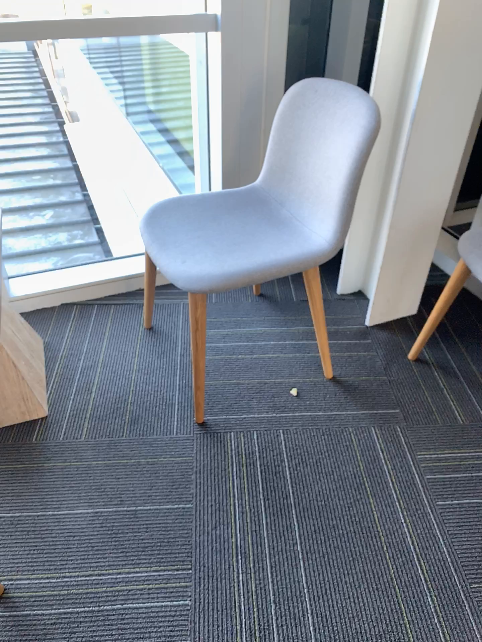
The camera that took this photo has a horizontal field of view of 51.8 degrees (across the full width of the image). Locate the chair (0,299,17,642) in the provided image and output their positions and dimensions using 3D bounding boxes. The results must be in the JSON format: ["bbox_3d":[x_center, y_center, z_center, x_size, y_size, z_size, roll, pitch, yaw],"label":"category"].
[{"bbox_3d":[-0.620,0.435,0.529,0.540,0.676,0.473,-12,40,-17],"label":"chair"}]

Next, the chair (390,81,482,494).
[{"bbox_3d":[0.858,-0.113,1.231,0.590,0.726,0.563,-15,41,-19],"label":"chair"}]

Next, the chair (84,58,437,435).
[{"bbox_3d":[-0.005,-0.252,1.397,0.600,0.726,0.654,-16,42,-21],"label":"chair"}]
